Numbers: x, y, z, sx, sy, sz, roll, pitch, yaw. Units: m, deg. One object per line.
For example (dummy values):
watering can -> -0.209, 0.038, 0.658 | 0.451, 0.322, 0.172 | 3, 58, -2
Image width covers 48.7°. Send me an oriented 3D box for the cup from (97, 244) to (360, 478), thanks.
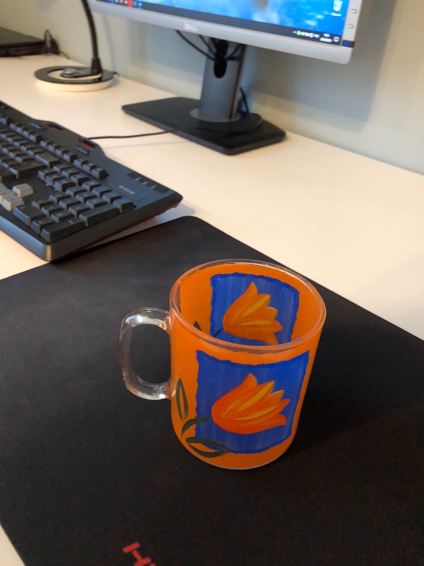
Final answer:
cup -> 0.007, 0.041, 0.257 | 0.114, 0.089, 0.076 | 5, 34, 1
